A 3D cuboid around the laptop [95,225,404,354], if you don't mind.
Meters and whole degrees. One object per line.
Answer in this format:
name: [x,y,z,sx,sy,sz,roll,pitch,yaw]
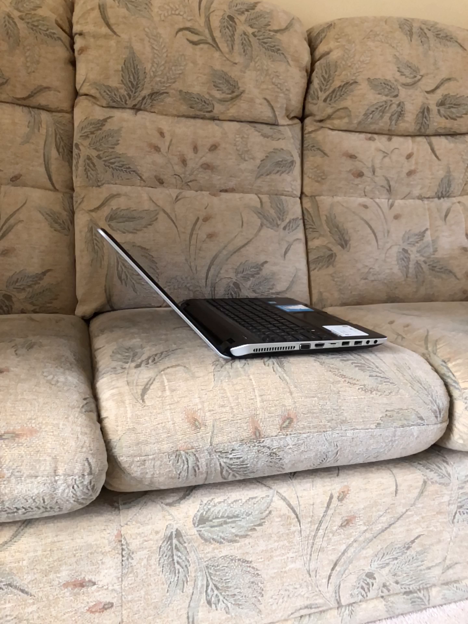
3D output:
laptop: [-0.015,-0.063,0.863,0.410,0.151,0.397,-2,12,-18]
